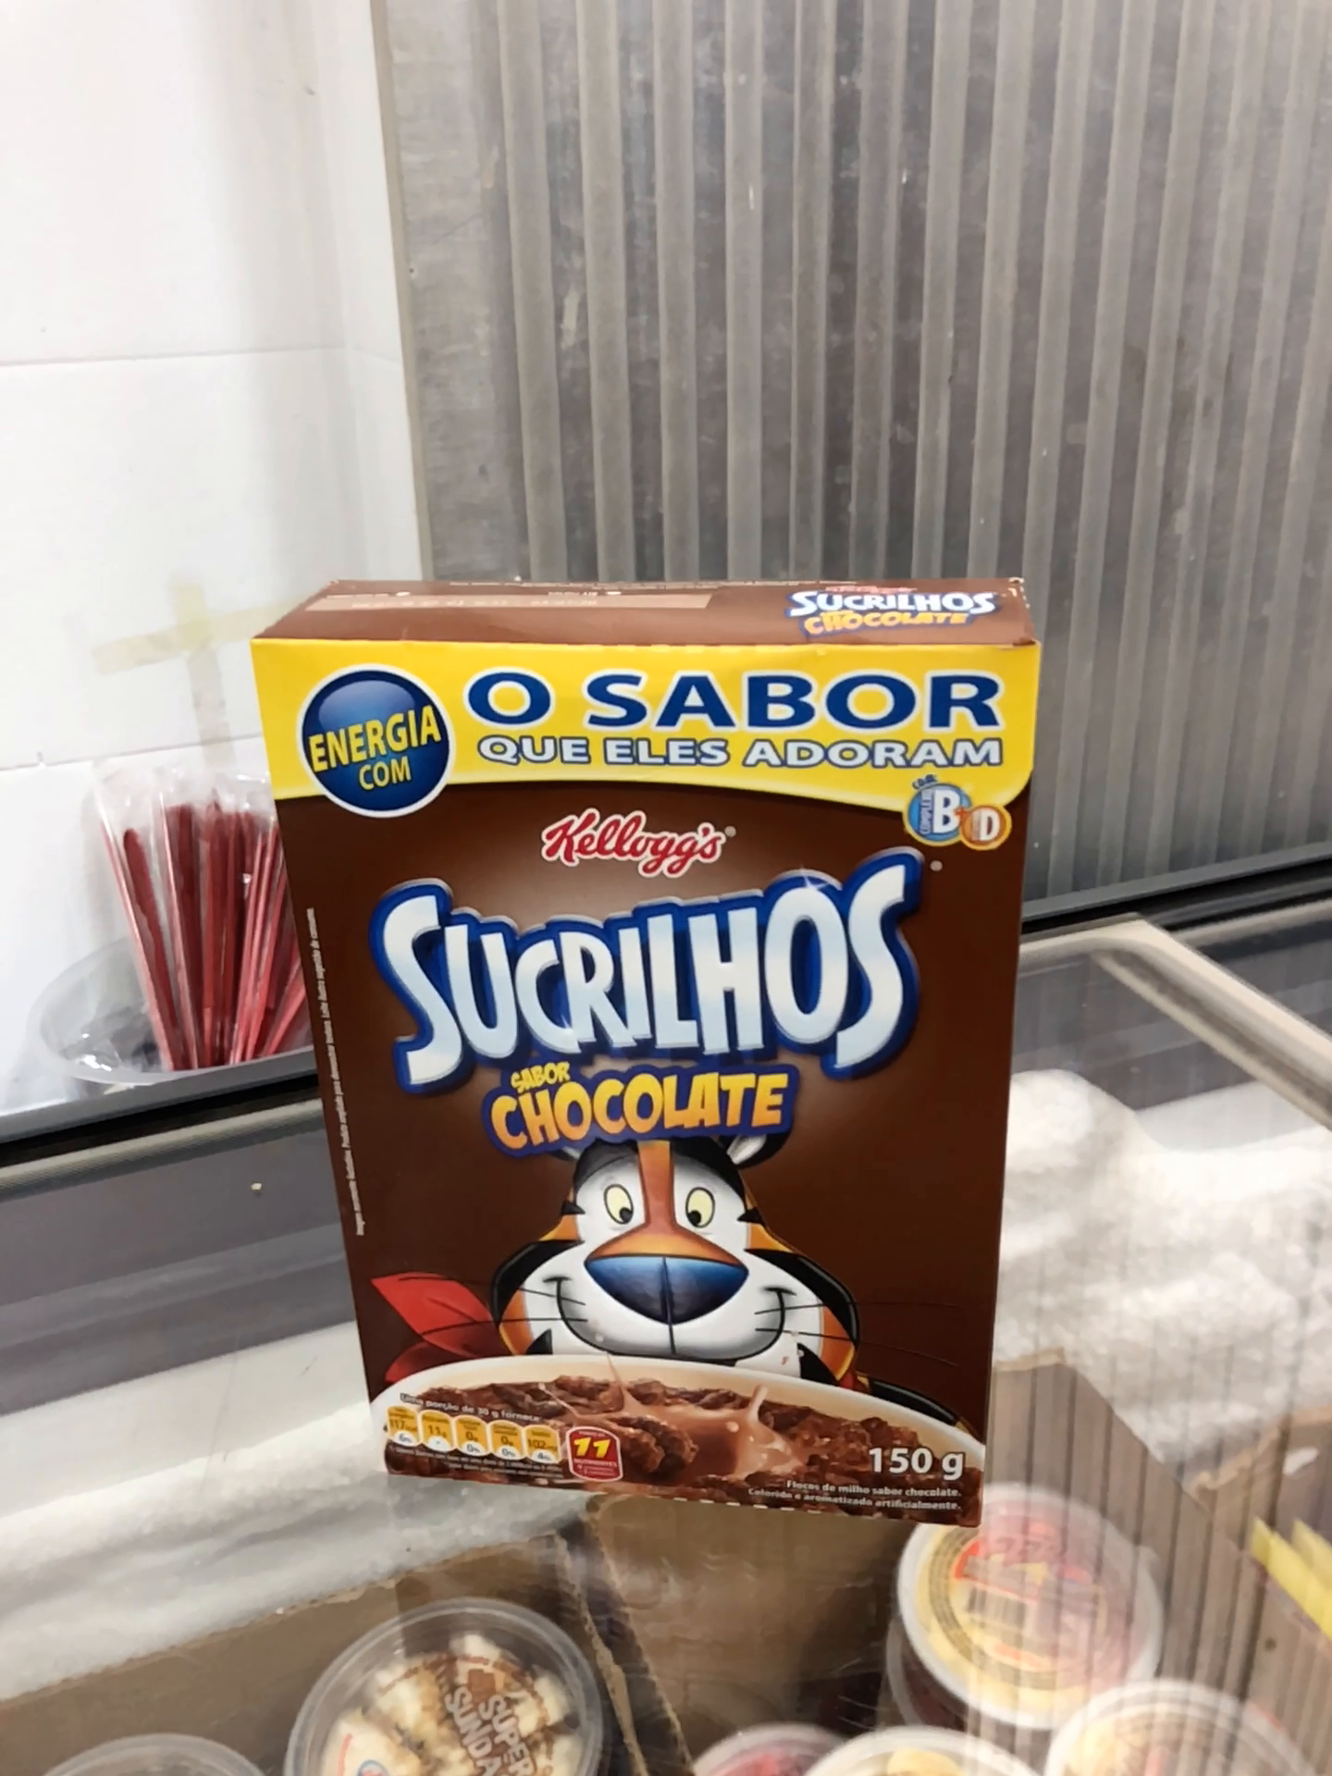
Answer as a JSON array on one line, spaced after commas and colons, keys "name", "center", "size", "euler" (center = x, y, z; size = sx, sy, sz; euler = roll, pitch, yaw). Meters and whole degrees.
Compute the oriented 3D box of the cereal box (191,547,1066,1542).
[{"name": "cereal box", "center": [-0.003, 0.038, 0.316], "size": [0.150, 0.209, 0.050], "euler": [2, 25, 7]}]
